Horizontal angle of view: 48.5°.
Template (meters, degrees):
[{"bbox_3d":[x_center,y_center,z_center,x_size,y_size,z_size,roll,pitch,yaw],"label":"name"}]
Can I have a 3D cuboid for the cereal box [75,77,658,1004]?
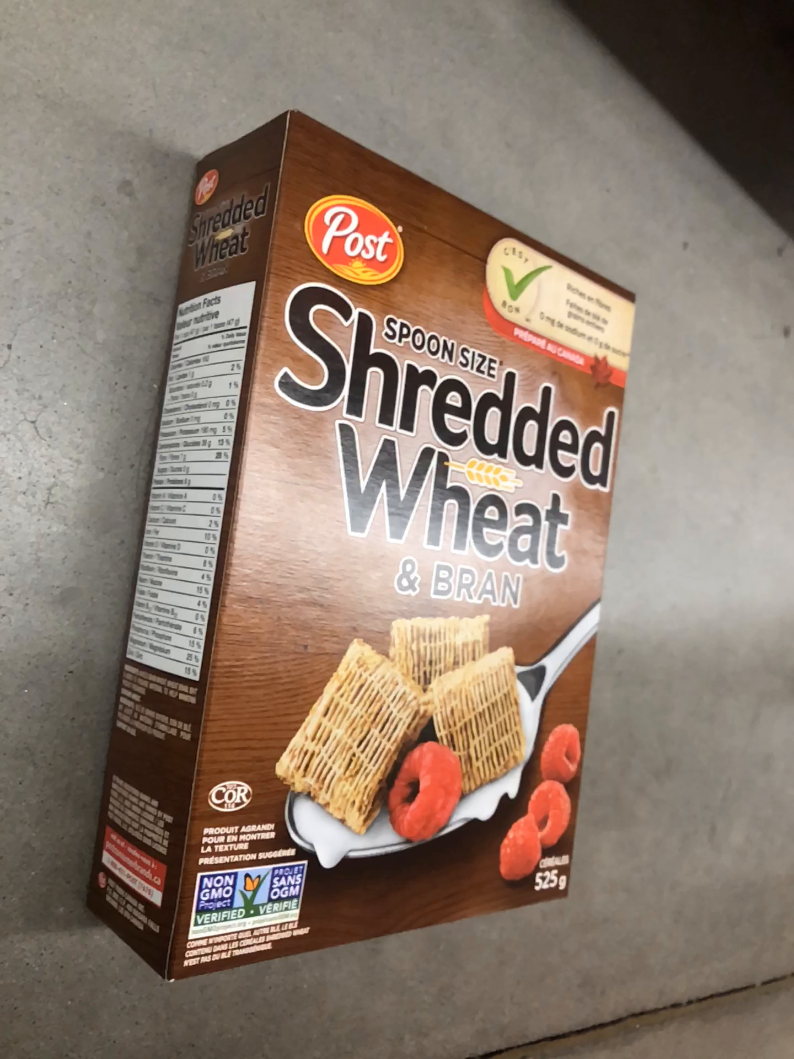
[{"bbox_3d":[0.003,0.011,0.356,0.201,0.070,0.280,10,86,-41],"label":"cereal box"}]
